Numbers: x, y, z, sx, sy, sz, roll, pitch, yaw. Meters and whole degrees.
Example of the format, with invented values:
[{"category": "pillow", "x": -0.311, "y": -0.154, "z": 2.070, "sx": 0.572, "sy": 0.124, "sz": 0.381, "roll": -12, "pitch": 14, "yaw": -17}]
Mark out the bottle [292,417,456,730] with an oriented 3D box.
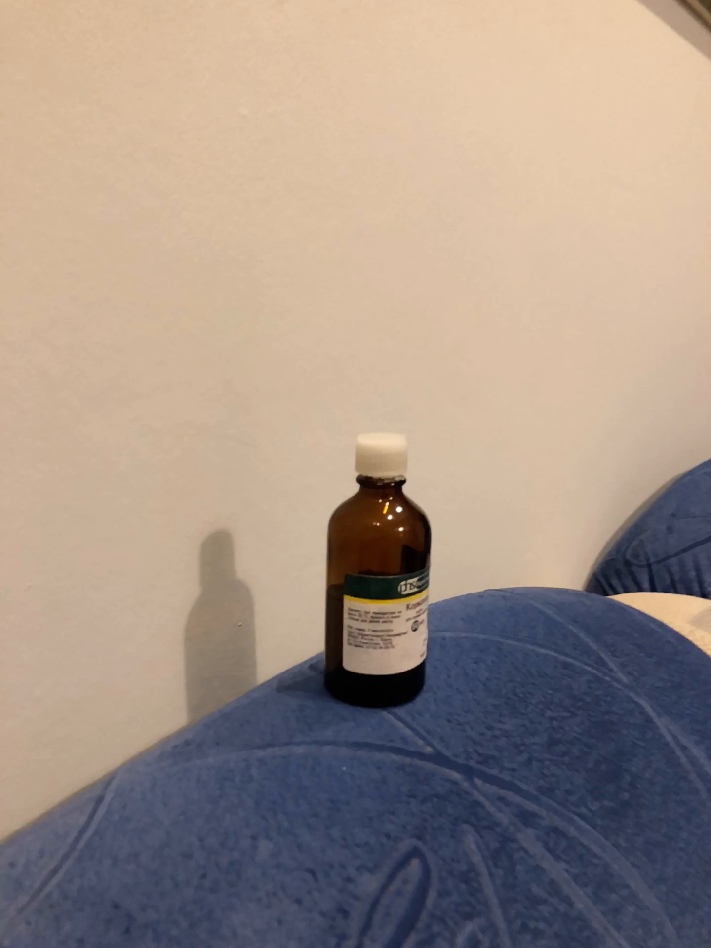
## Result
[{"category": "bottle", "x": 0.007, "y": 0.033, "z": 0.288, "sx": 0.040, "sy": 0.100, "sz": 0.045, "roll": 8, "pitch": 14, "yaw": 35}]
